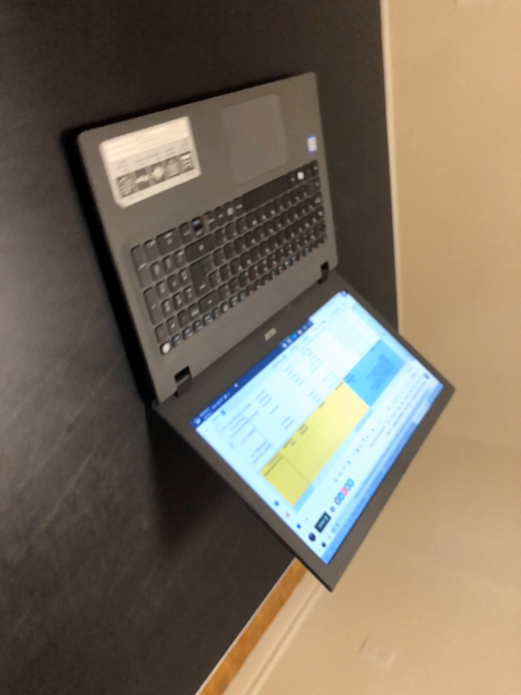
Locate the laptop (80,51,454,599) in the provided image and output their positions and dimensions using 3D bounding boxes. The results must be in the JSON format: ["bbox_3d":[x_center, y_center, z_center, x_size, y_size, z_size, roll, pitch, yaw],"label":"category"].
[{"bbox_3d":[0.065,-0.051,0.627,0.376,0.161,0.430,-40,128,-45],"label":"laptop"}]
